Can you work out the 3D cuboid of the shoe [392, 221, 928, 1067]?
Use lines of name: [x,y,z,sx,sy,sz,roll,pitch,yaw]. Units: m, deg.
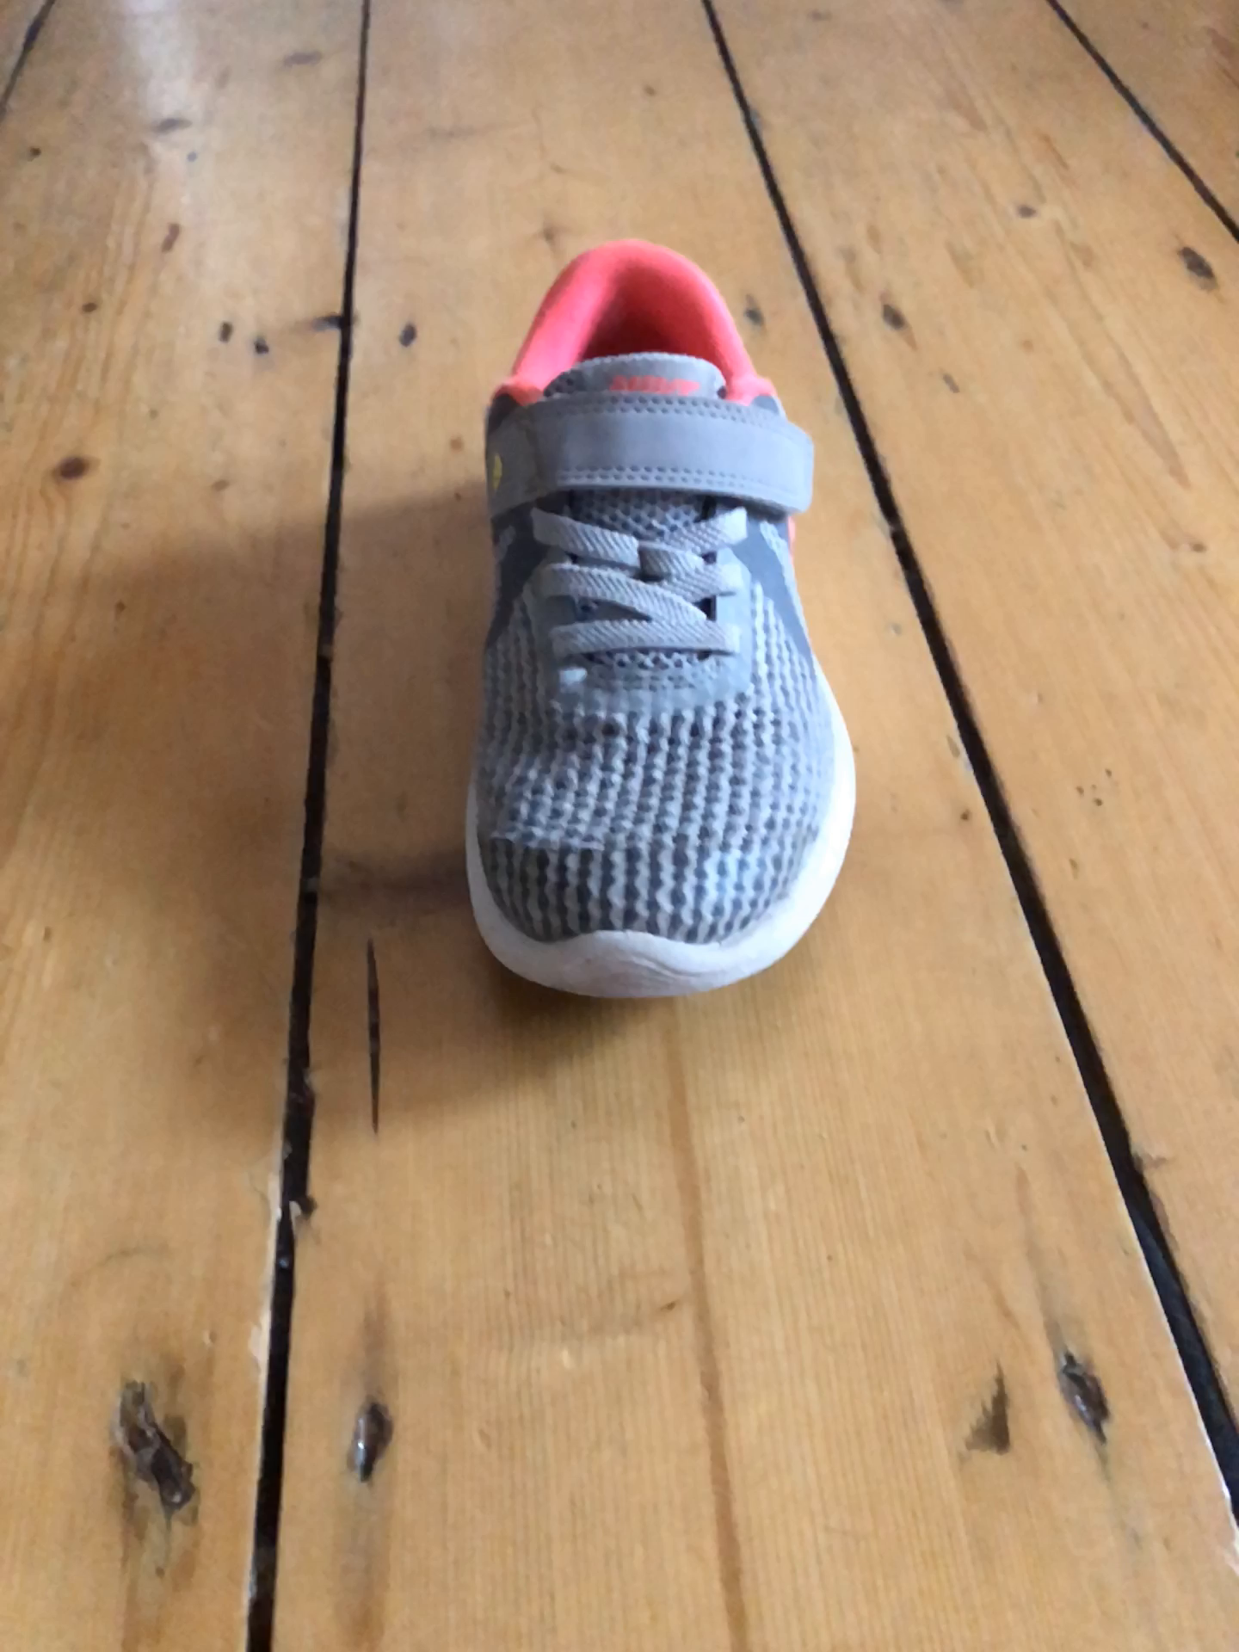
shoe: [0.005,-0.048,0.290,0.080,0.070,0.181,-3,50,1]
